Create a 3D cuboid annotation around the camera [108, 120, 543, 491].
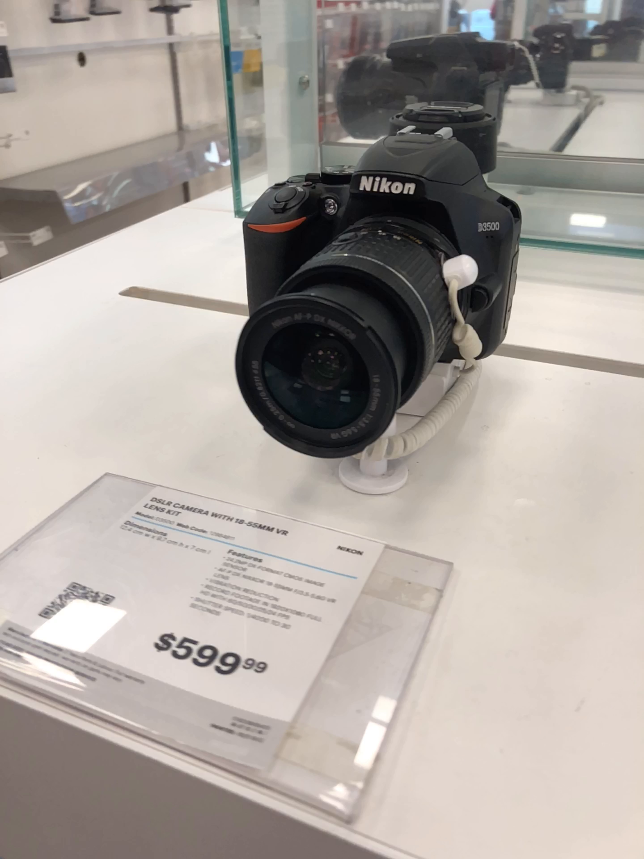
[{"bbox_3d":[0.016,-0.072,0.321,0.120,0.100,0.171,12,32,22],"label":"camera"}]
